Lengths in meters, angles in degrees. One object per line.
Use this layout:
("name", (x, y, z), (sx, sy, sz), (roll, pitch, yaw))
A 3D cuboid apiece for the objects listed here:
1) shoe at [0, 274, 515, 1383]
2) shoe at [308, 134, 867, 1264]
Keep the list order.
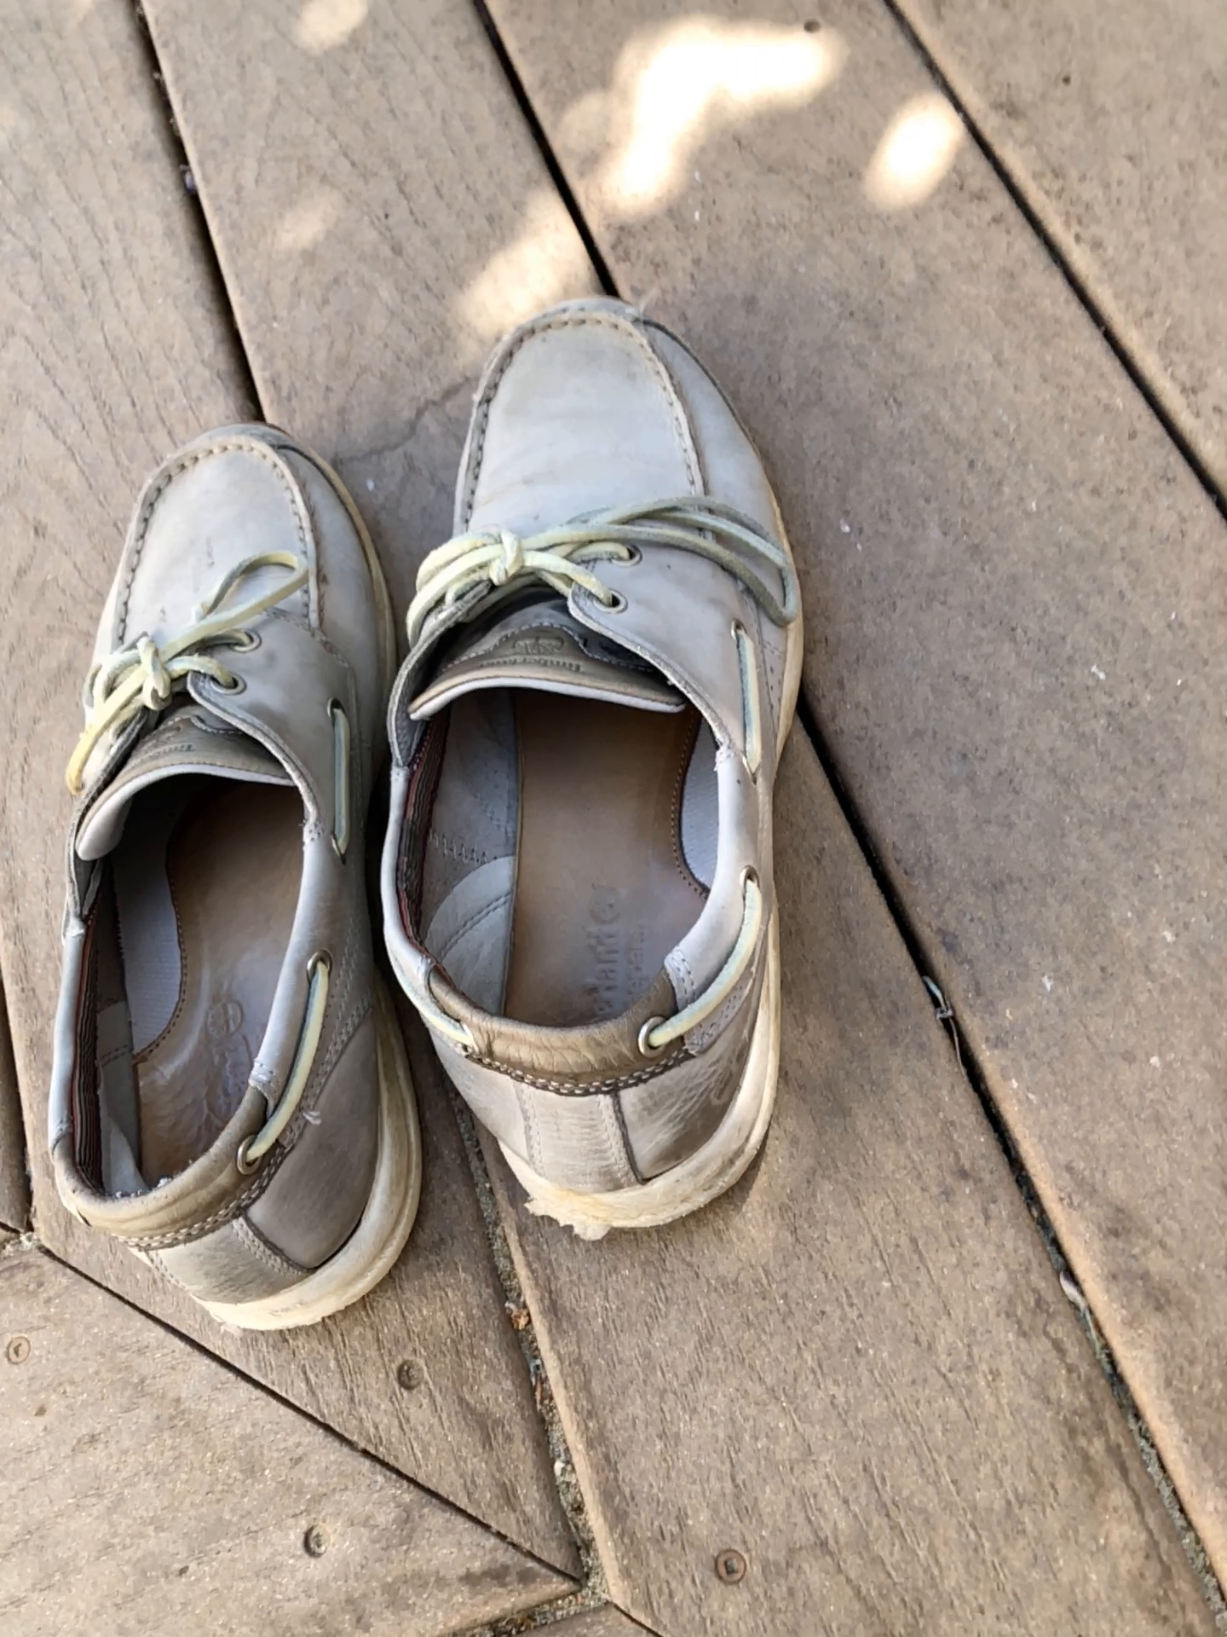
("shoe", (-0.126, -0.003, 0.421), (0.119, 0.096, 0.310), (-16, 65, 8))
("shoe", (-0.004, -0.037, 0.404), (0.122, 0.097, 0.312), (-7, 67, 12))
